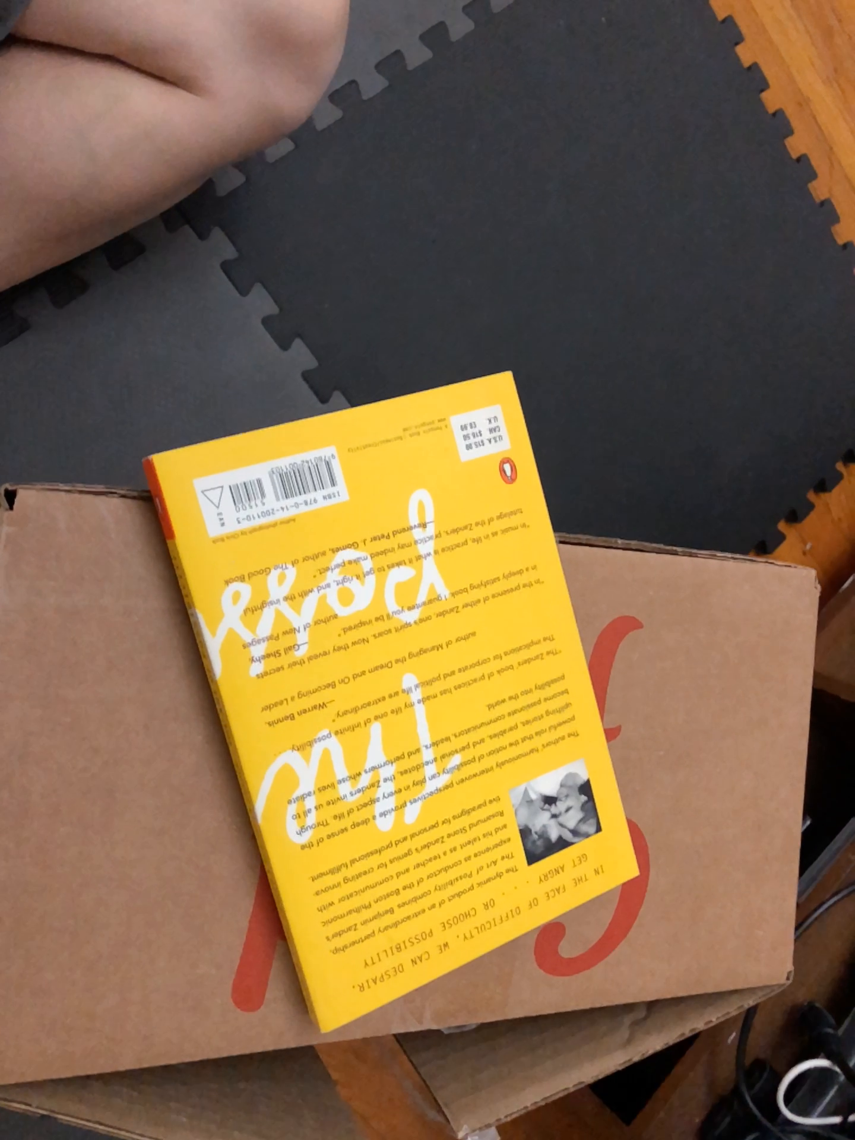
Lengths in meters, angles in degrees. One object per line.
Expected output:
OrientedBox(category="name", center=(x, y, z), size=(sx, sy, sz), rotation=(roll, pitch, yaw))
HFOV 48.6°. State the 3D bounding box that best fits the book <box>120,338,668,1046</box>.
OrientedBox(category="book", center=(-0.003, 0.036, 0.341), size=(0.150, 0.020, 0.210), rotation=(-18, 97, -22))
